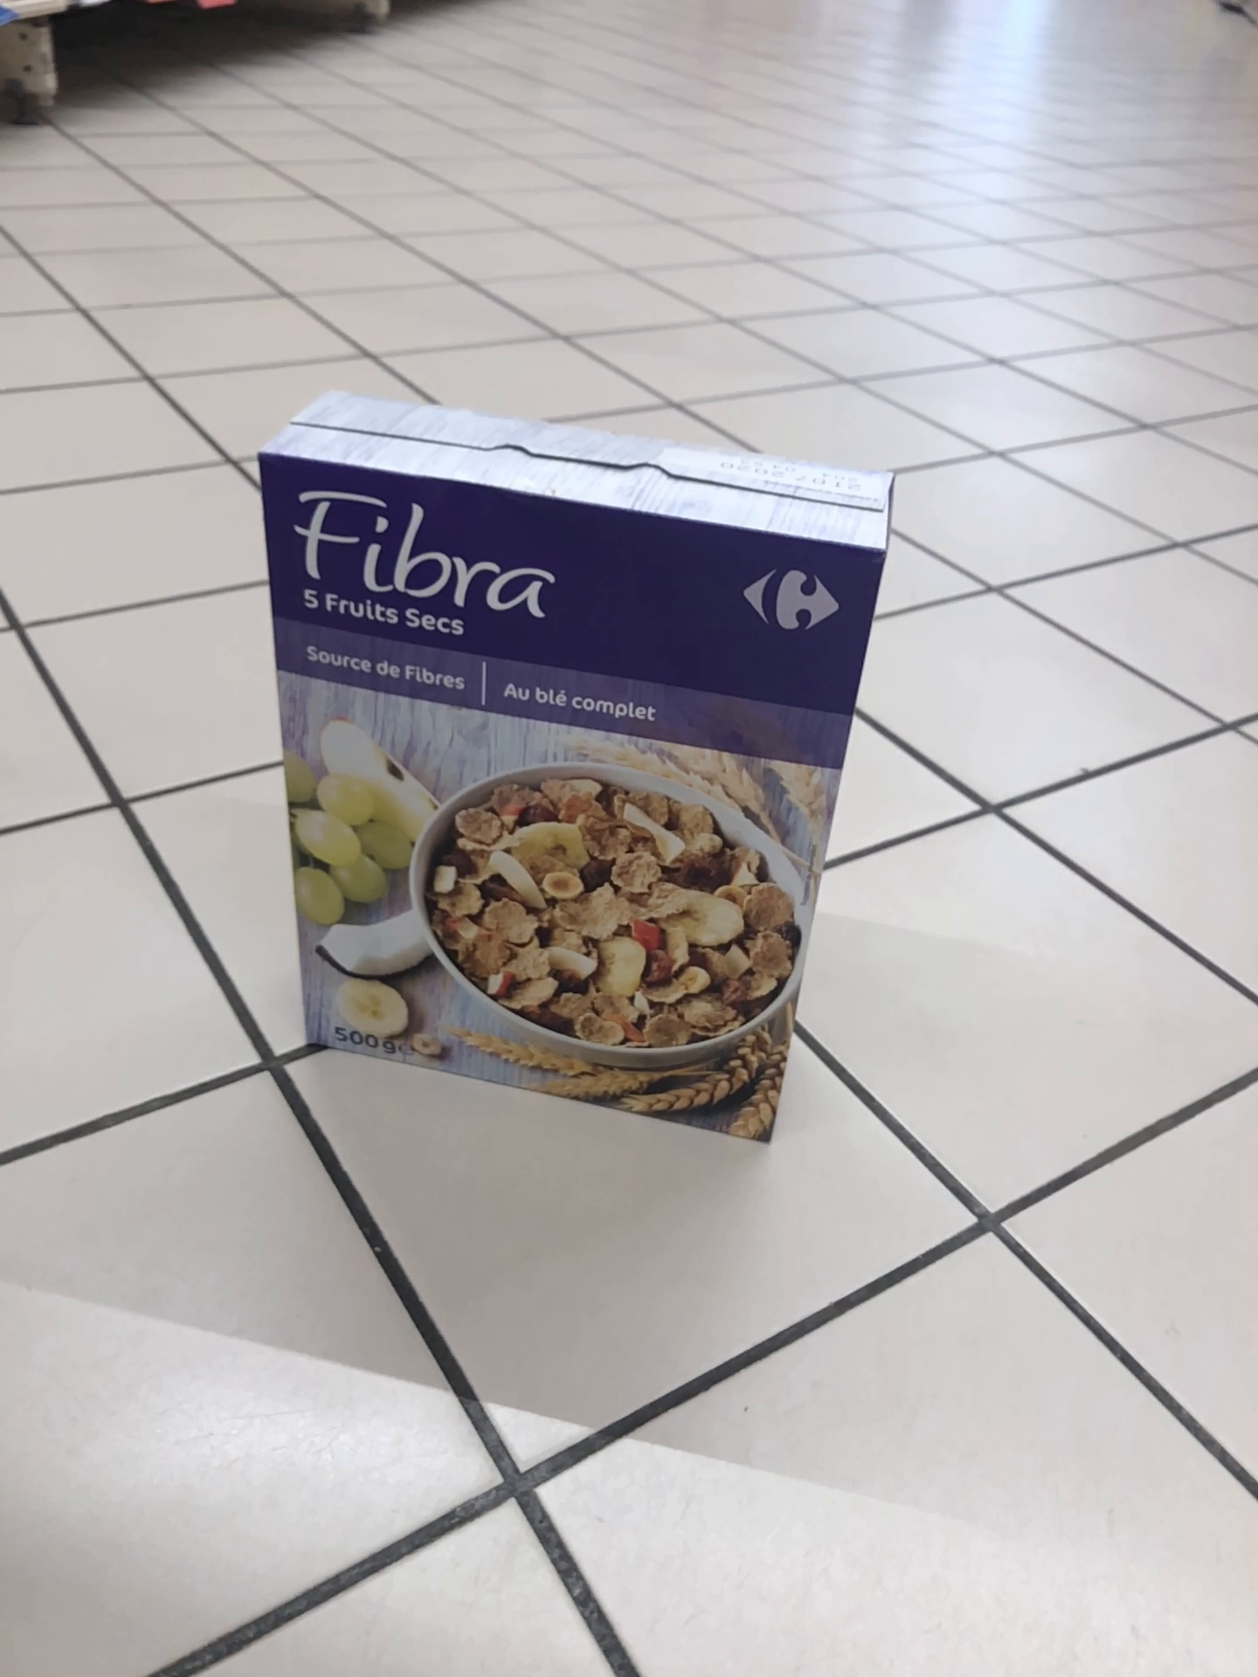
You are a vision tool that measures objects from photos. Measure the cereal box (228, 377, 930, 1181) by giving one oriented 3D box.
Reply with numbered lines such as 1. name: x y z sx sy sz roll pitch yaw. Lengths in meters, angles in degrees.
1. cereal box: -0.022 -0.014 0.515 0.210 0.258 0.081 11 35 7
